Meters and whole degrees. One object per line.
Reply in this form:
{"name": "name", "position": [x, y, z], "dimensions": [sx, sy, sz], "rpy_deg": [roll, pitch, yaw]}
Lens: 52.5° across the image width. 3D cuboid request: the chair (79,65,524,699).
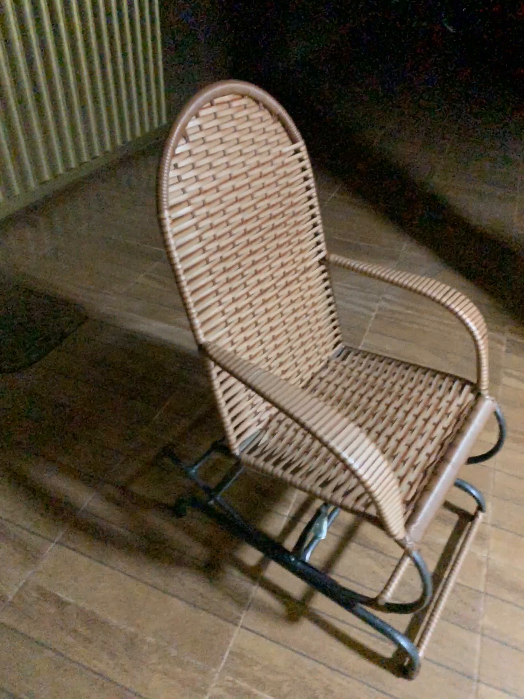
{"name": "chair", "position": [0.185, 0.064, 1.167], "dimensions": [0.781, 1.050, 0.603], "rpy_deg": [26, 43, 26]}
